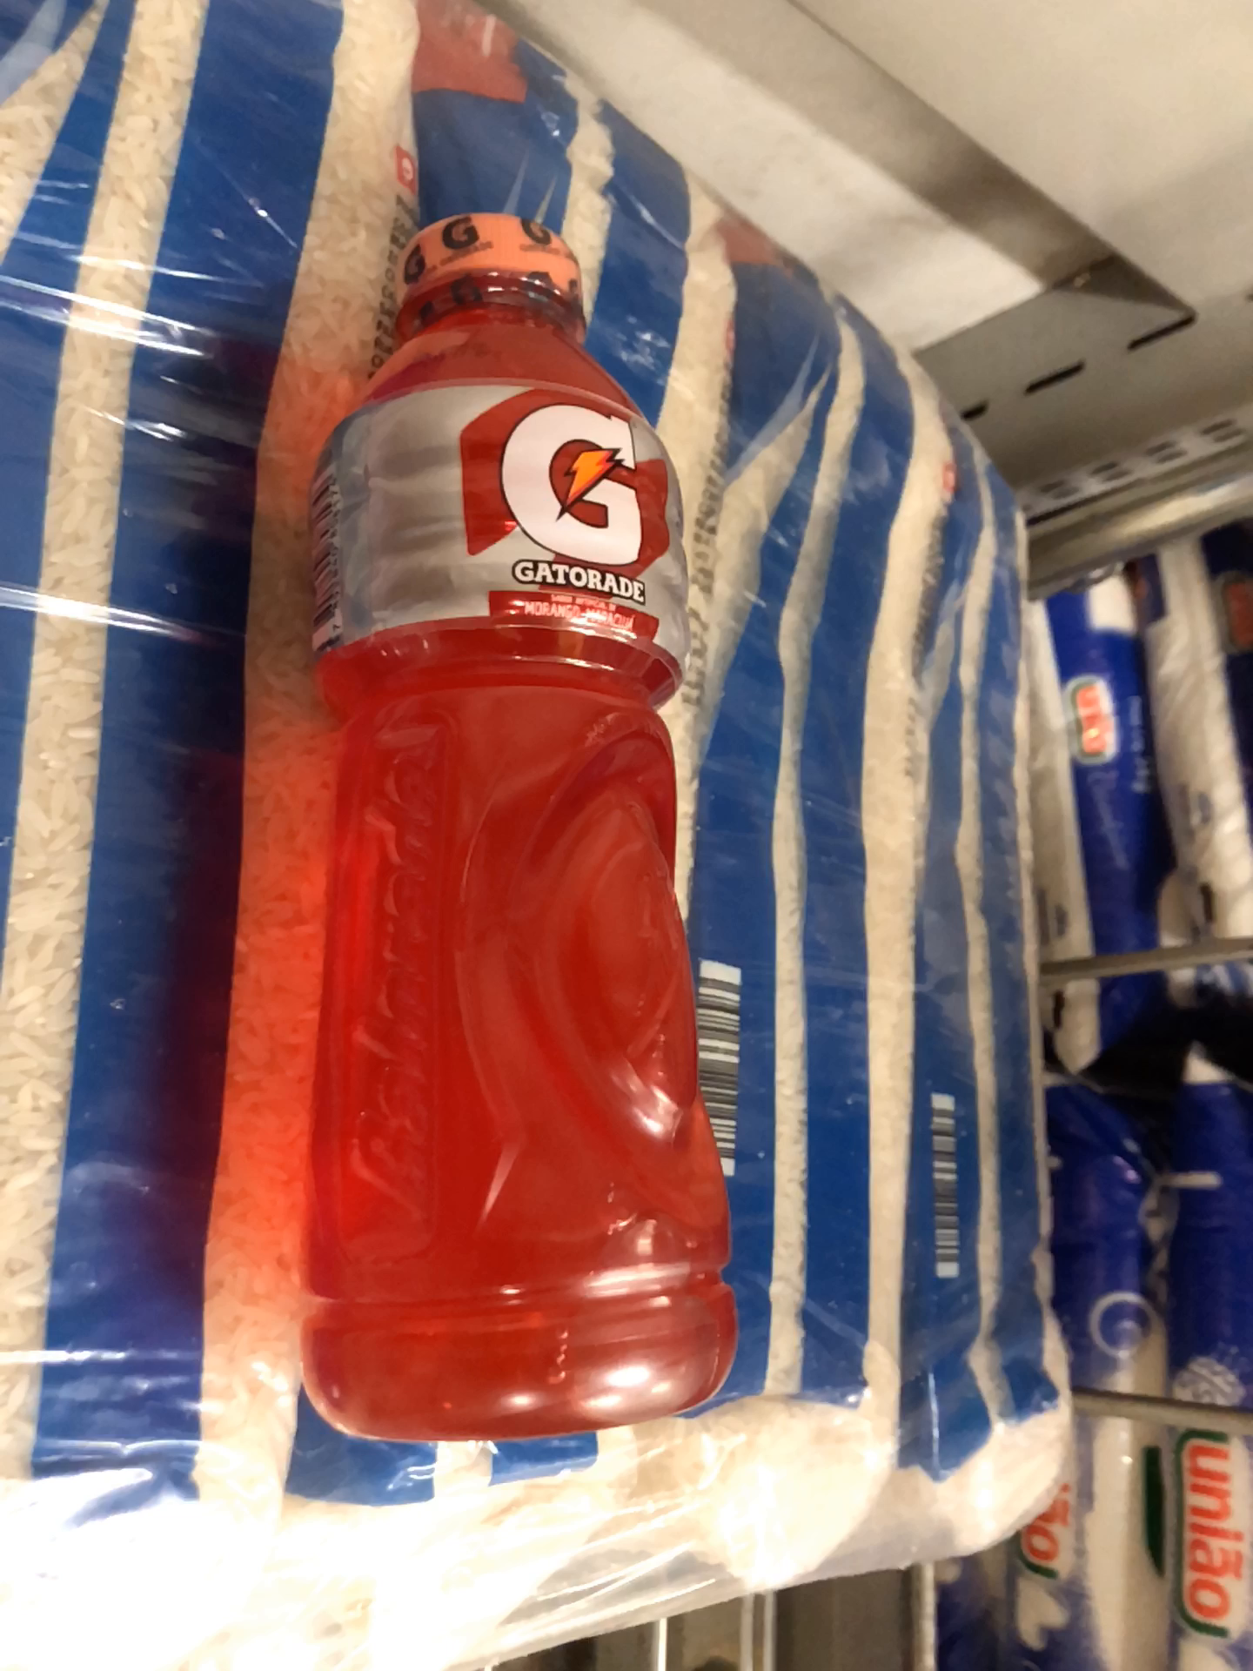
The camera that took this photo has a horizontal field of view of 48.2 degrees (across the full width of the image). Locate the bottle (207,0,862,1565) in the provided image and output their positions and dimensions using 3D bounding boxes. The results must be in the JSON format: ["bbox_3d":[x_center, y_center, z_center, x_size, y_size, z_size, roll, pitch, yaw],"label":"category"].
[{"bbox_3d":[-0.014,-0.014,0.233,0.080,0.060,0.220,7,78,-38],"label":"bottle"}]
